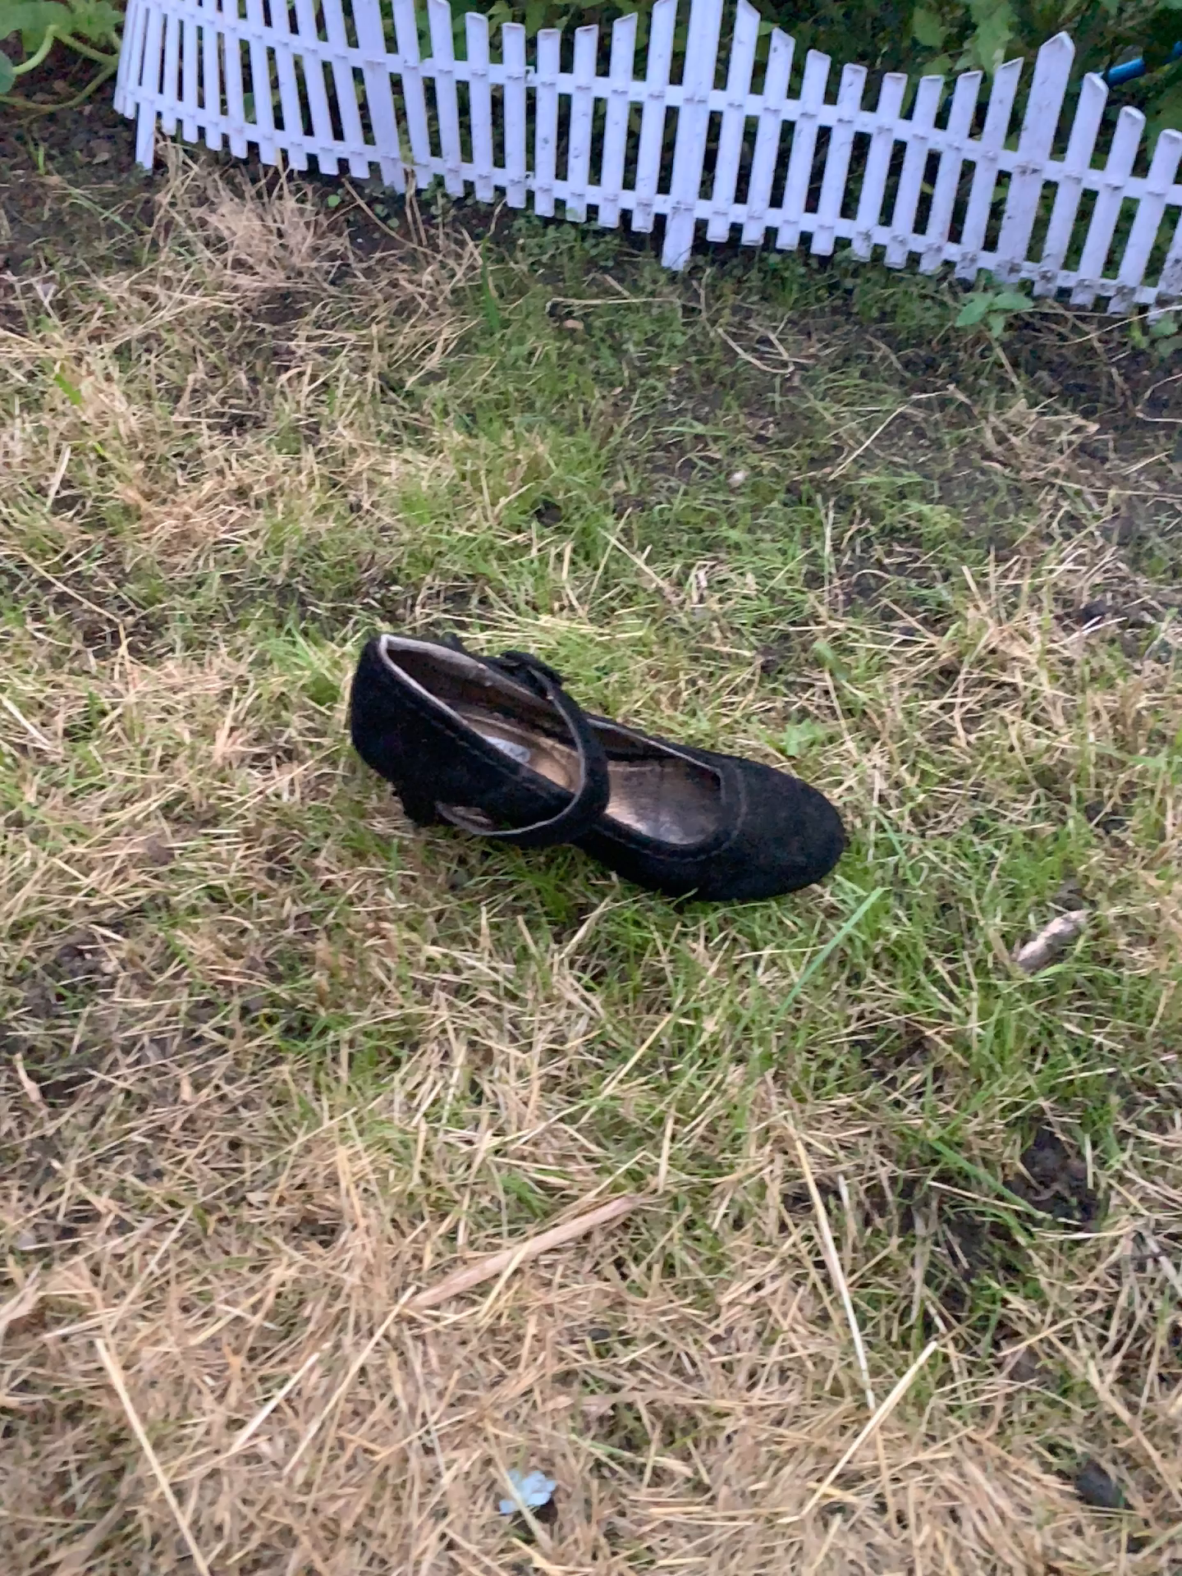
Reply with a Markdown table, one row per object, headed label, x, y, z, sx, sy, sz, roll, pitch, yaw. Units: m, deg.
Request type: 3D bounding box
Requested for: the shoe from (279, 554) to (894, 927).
| label | x | y | z | sx | sy | sz | roll | pitch | yaw |
| --- | --- | --- | --- | --- | --- | --- | --- | --- | --- |
| shoe | 0.002 | -0.023 | 0.564 | 0.250 | 0.109 | 0.111 | 5 | 49 | 4 |
